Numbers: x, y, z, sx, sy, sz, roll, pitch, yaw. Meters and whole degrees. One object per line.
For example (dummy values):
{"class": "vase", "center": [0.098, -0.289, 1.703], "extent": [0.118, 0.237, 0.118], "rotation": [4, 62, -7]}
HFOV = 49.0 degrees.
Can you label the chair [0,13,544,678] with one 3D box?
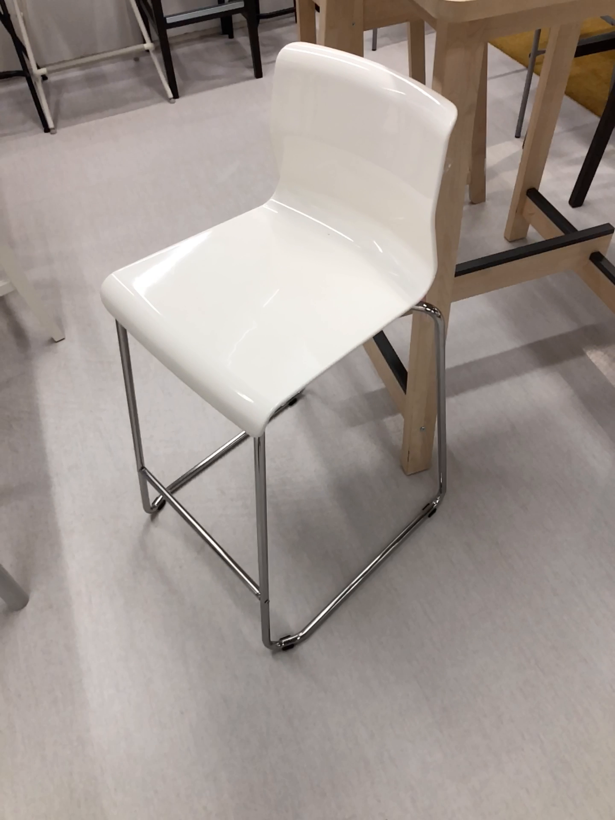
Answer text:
{"class": "chair", "center": [-0.064, -0.067, 1.133], "extent": [0.551, 0.825, 0.502], "rotation": [-38, 58, -24]}
